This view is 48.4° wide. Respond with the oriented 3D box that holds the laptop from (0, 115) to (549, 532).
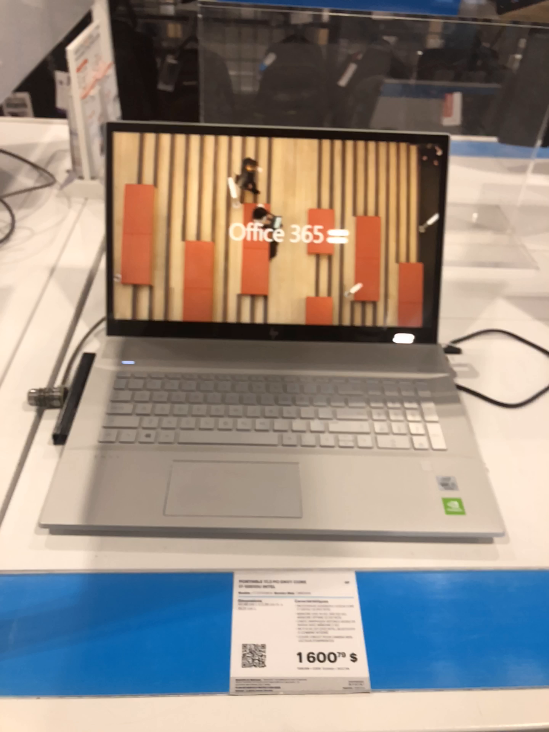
[{"bbox_3d":[0.001,-0.070,0.610,0.390,0.199,0.399,2,40,-3],"label":"laptop"}]
